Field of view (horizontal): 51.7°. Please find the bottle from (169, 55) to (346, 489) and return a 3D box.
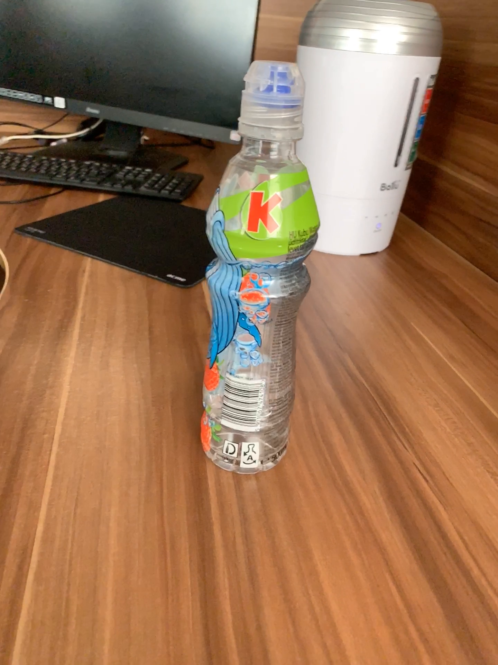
[{"bbox_3d":[0.000,-0.026,0.306,0.070,0.239,0.070,4,30,-2],"label":"bottle"}]
